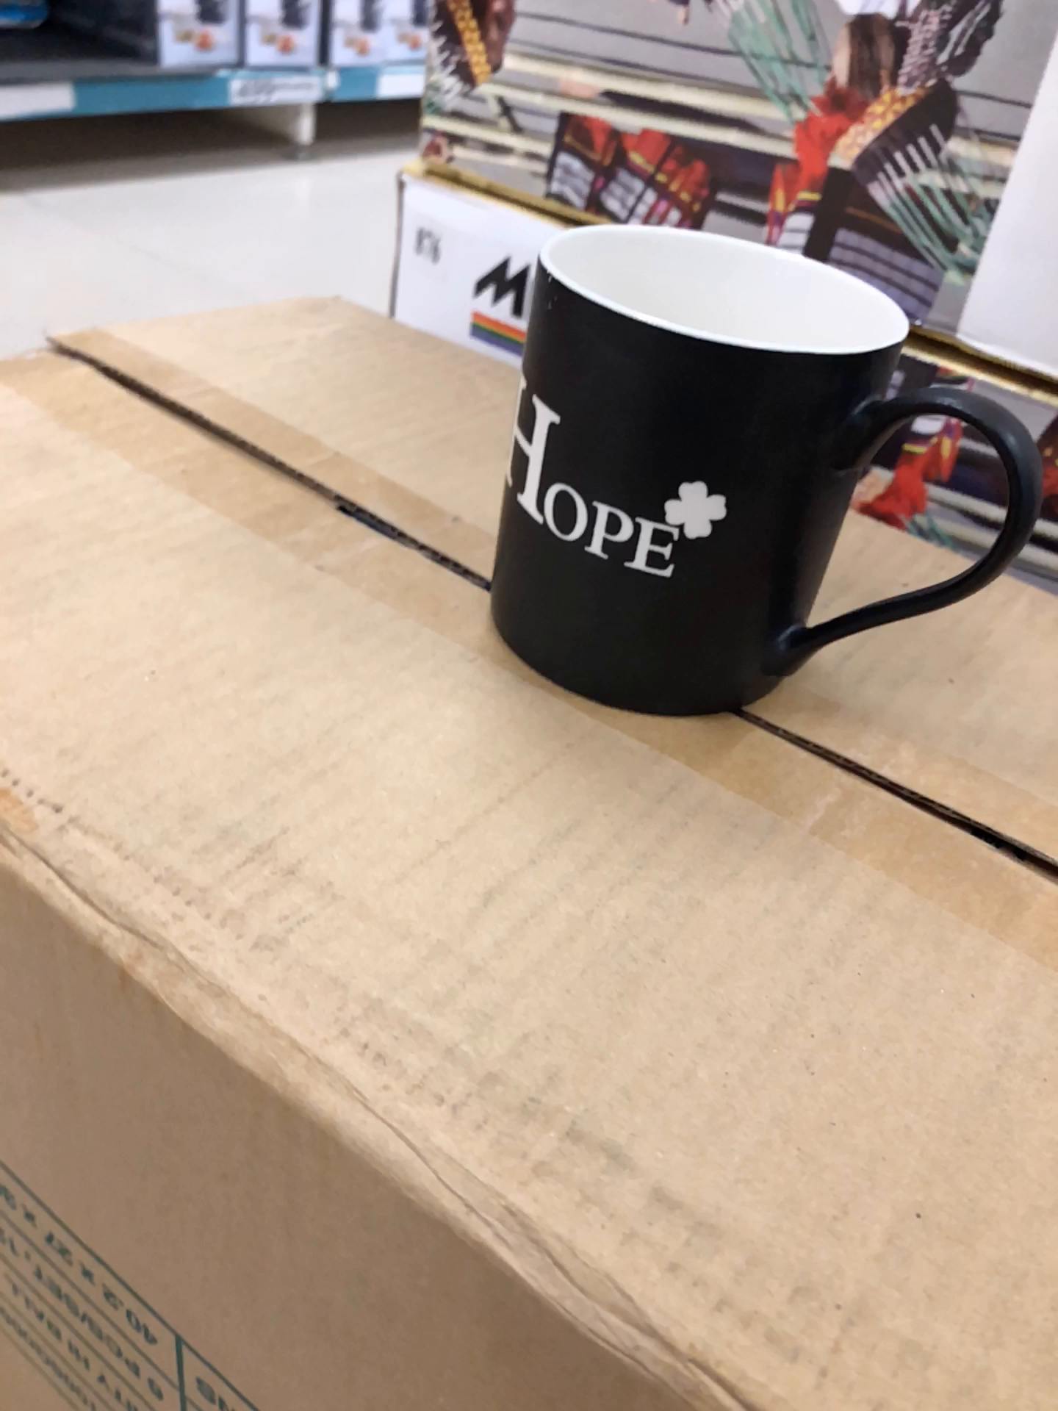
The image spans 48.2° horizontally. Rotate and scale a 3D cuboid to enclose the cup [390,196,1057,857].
[{"bbox_3d":[0.047,-0.049,0.273,0.120,0.089,0.091,27,38,21],"label":"cup"}]
